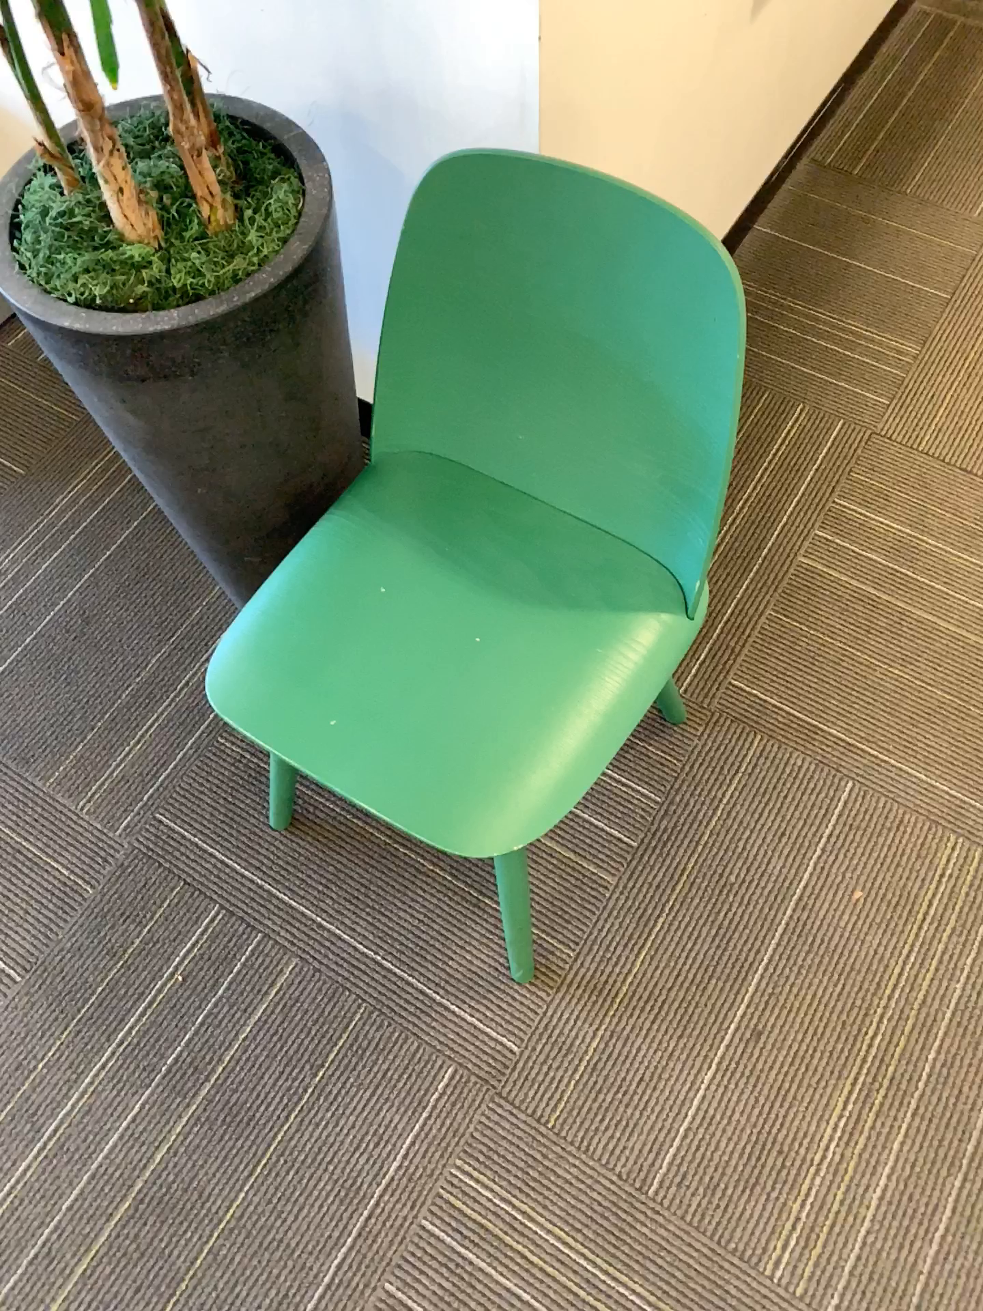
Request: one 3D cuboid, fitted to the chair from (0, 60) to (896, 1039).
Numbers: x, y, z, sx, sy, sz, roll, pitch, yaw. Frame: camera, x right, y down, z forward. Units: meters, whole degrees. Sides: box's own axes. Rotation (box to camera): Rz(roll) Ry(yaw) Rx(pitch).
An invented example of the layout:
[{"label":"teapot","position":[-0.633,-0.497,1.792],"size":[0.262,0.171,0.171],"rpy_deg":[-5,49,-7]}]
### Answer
[{"label":"chair","position":[-0.031,-0.046,1.086],"size":[0.501,0.748,0.601],"rpy_deg":[28,67,16]}]
